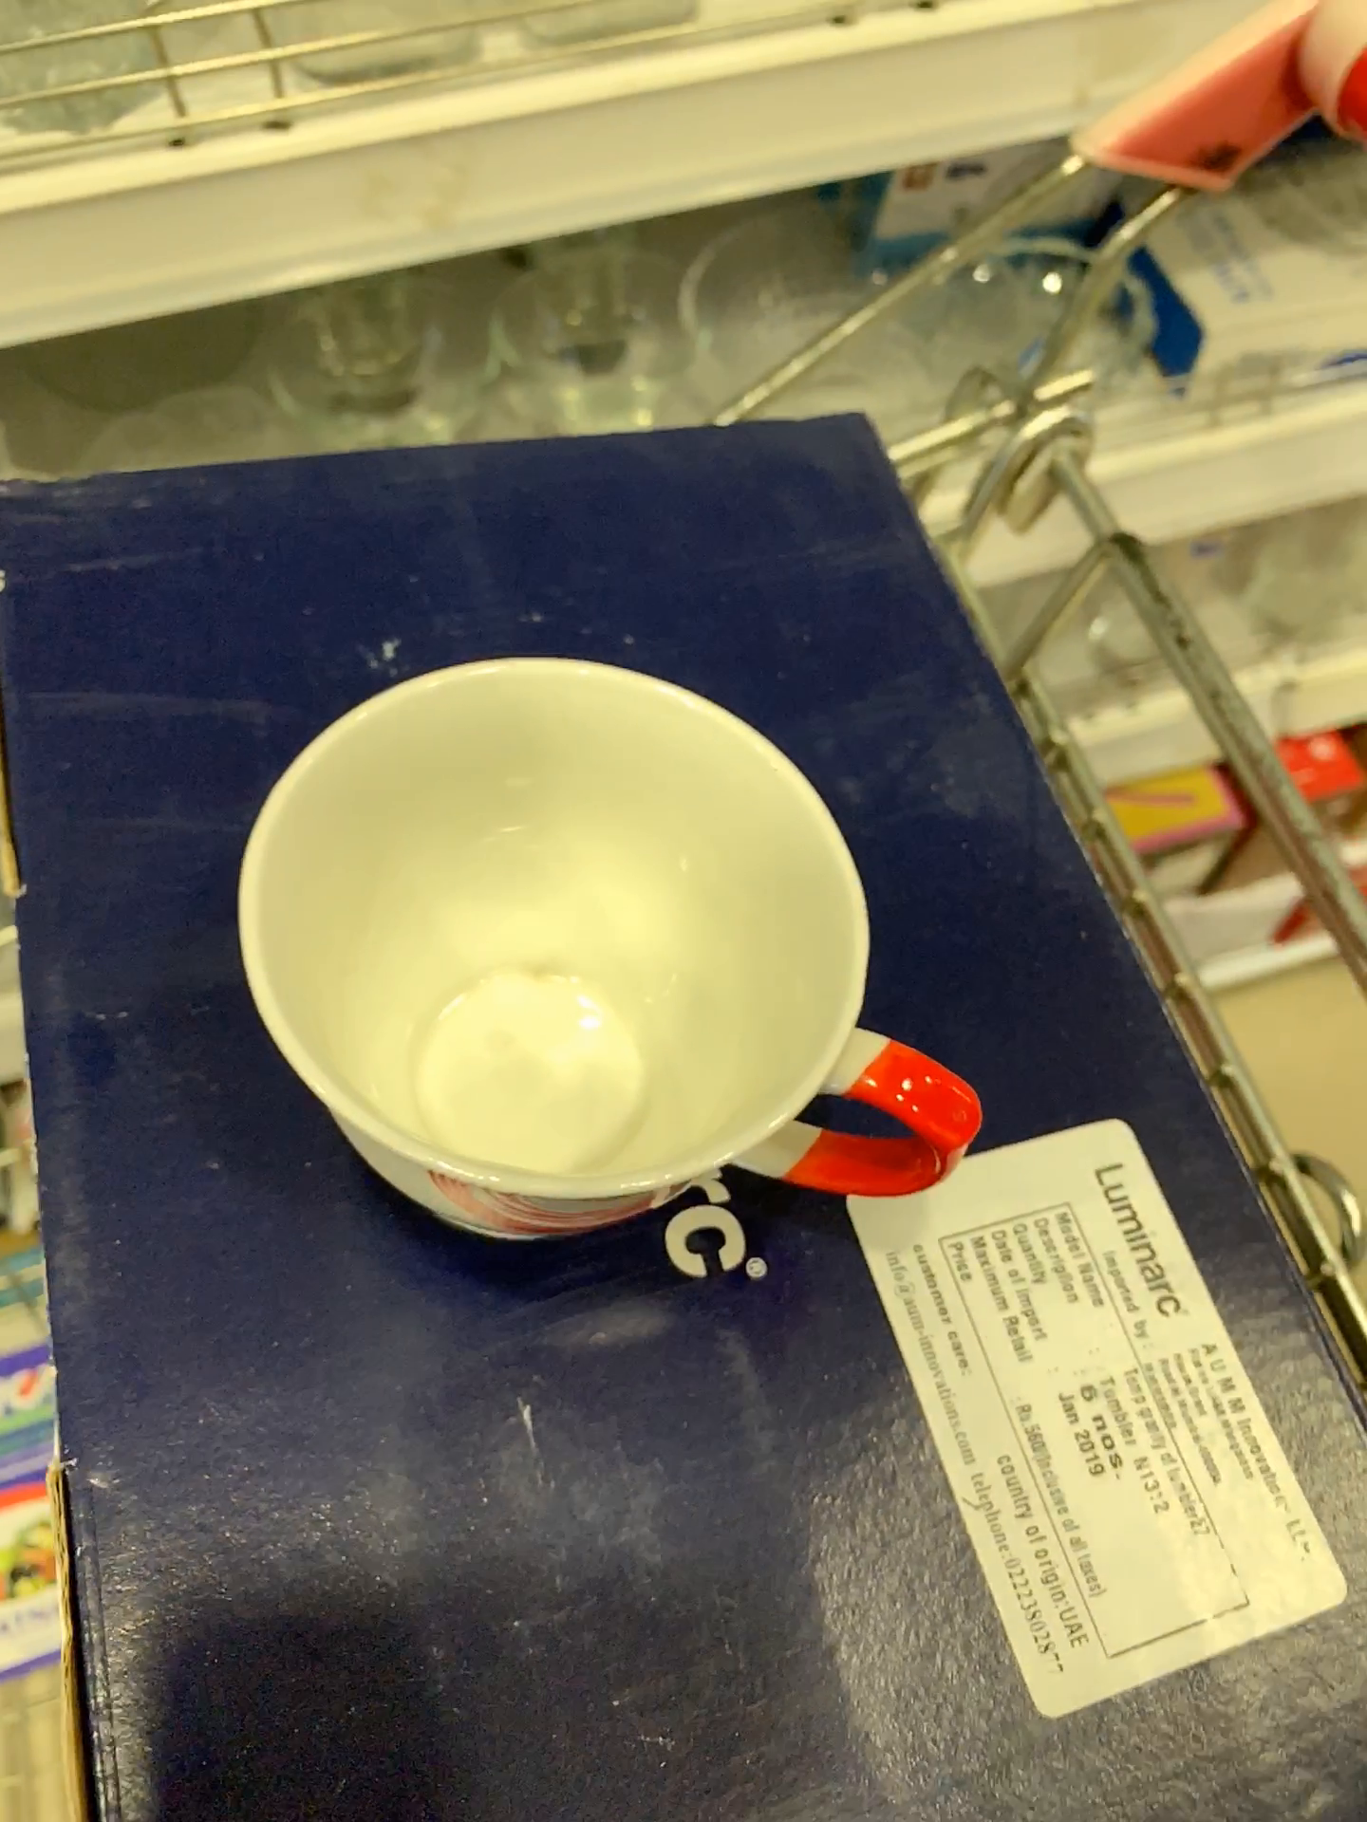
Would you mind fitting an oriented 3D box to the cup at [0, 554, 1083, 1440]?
[{"bbox_3d":[-0.012,0.012,0.172,0.100,0.050,0.070,14,62,-1],"label":"cup"}]
